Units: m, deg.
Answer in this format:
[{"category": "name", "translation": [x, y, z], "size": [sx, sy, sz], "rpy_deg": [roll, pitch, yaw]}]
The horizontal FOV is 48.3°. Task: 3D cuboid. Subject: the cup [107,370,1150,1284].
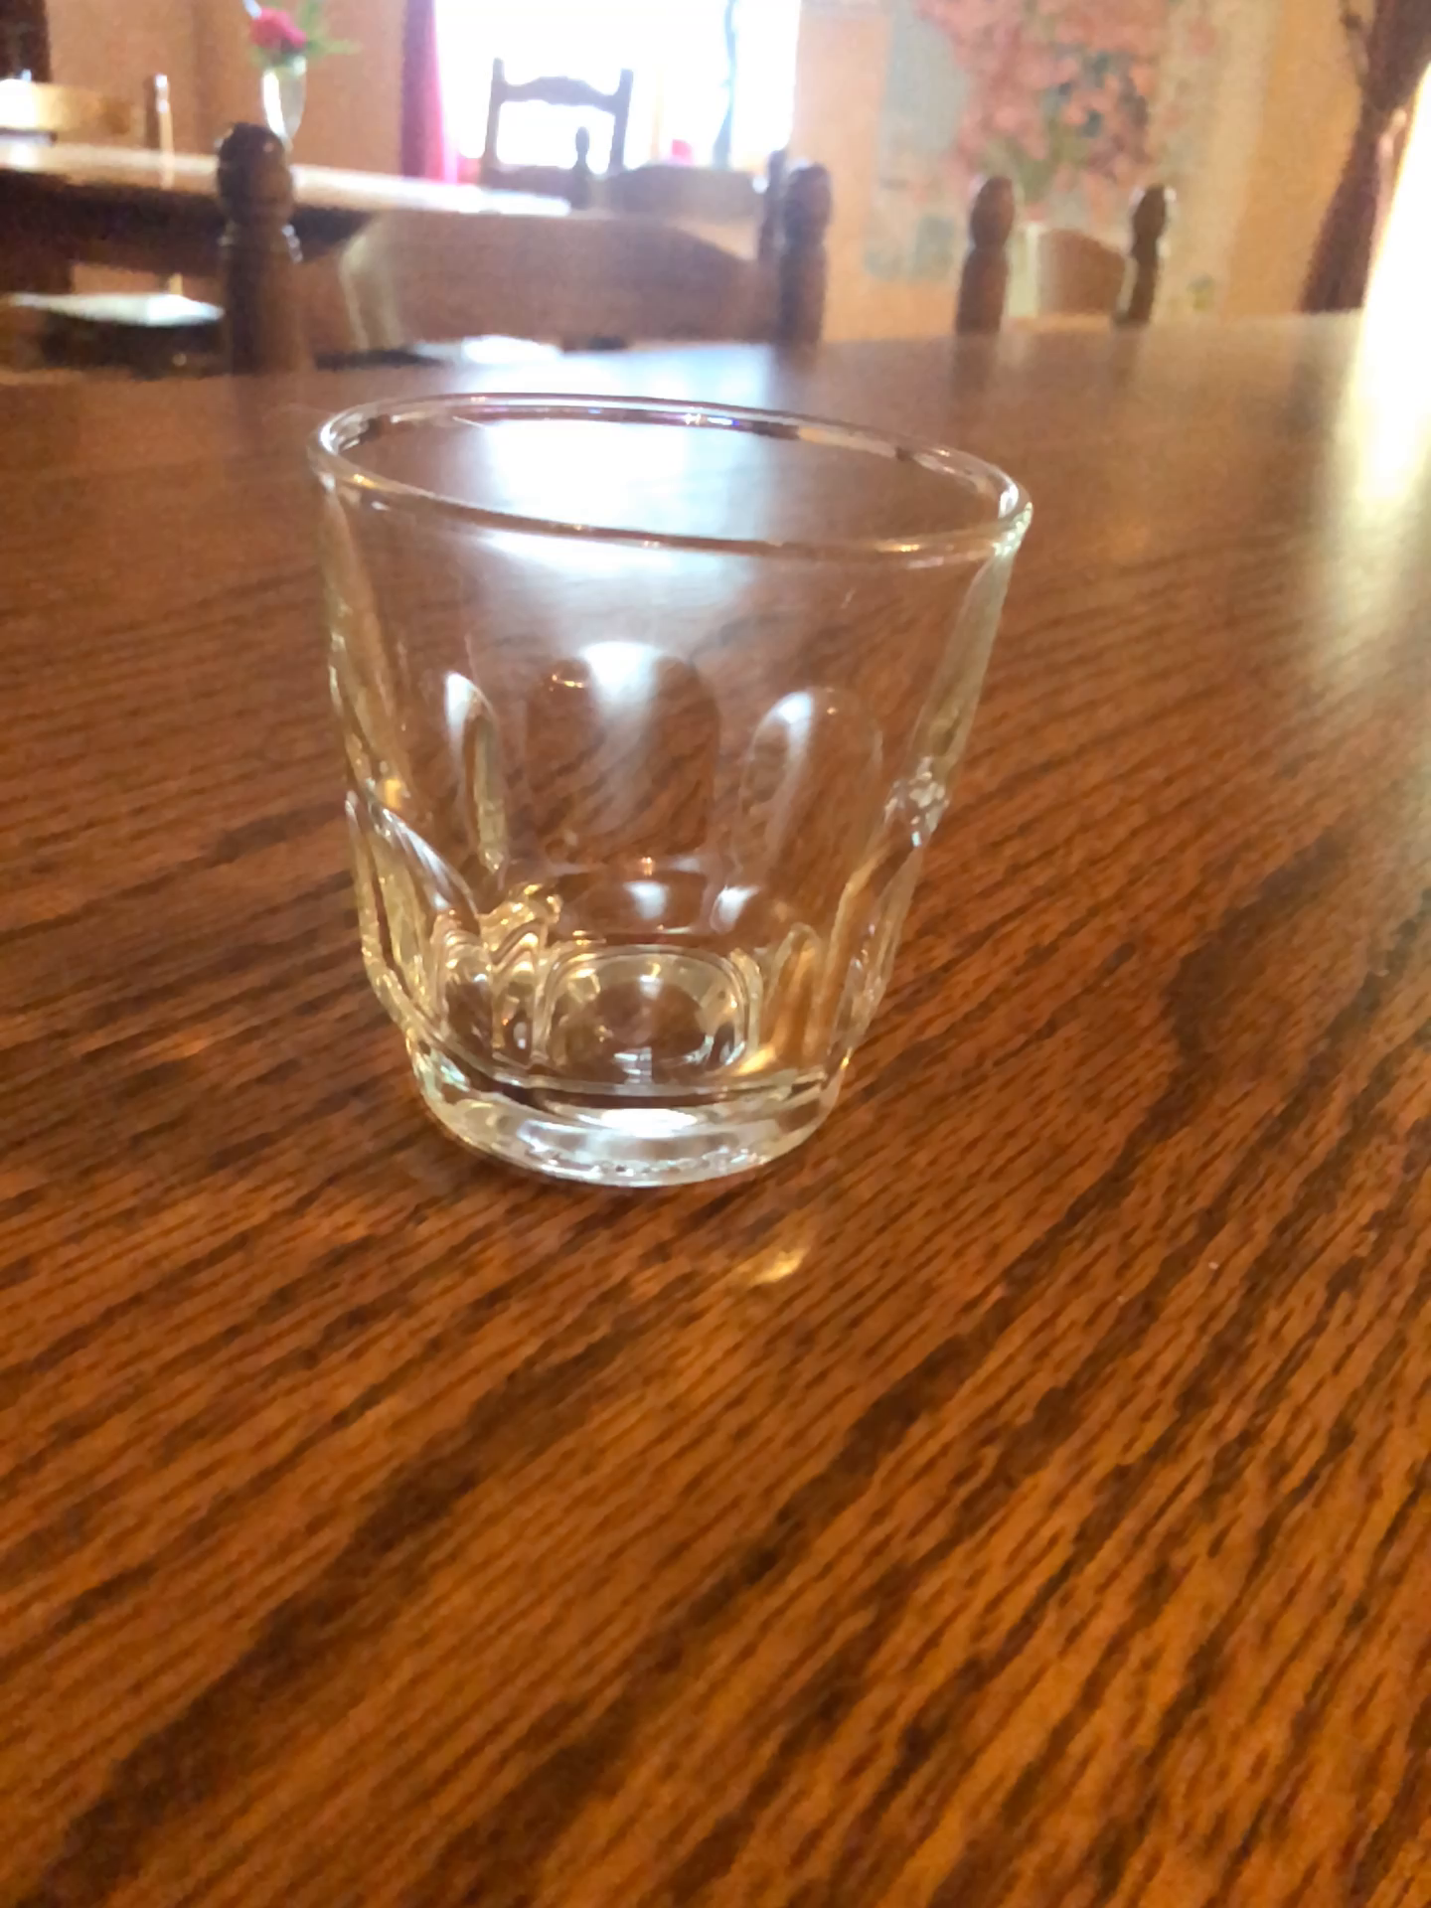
[{"category": "cup", "translation": [-0.008, -0.025, 0.191], "size": [0.083, 0.069, 0.083], "rpy_deg": [5, 26, -2]}]
